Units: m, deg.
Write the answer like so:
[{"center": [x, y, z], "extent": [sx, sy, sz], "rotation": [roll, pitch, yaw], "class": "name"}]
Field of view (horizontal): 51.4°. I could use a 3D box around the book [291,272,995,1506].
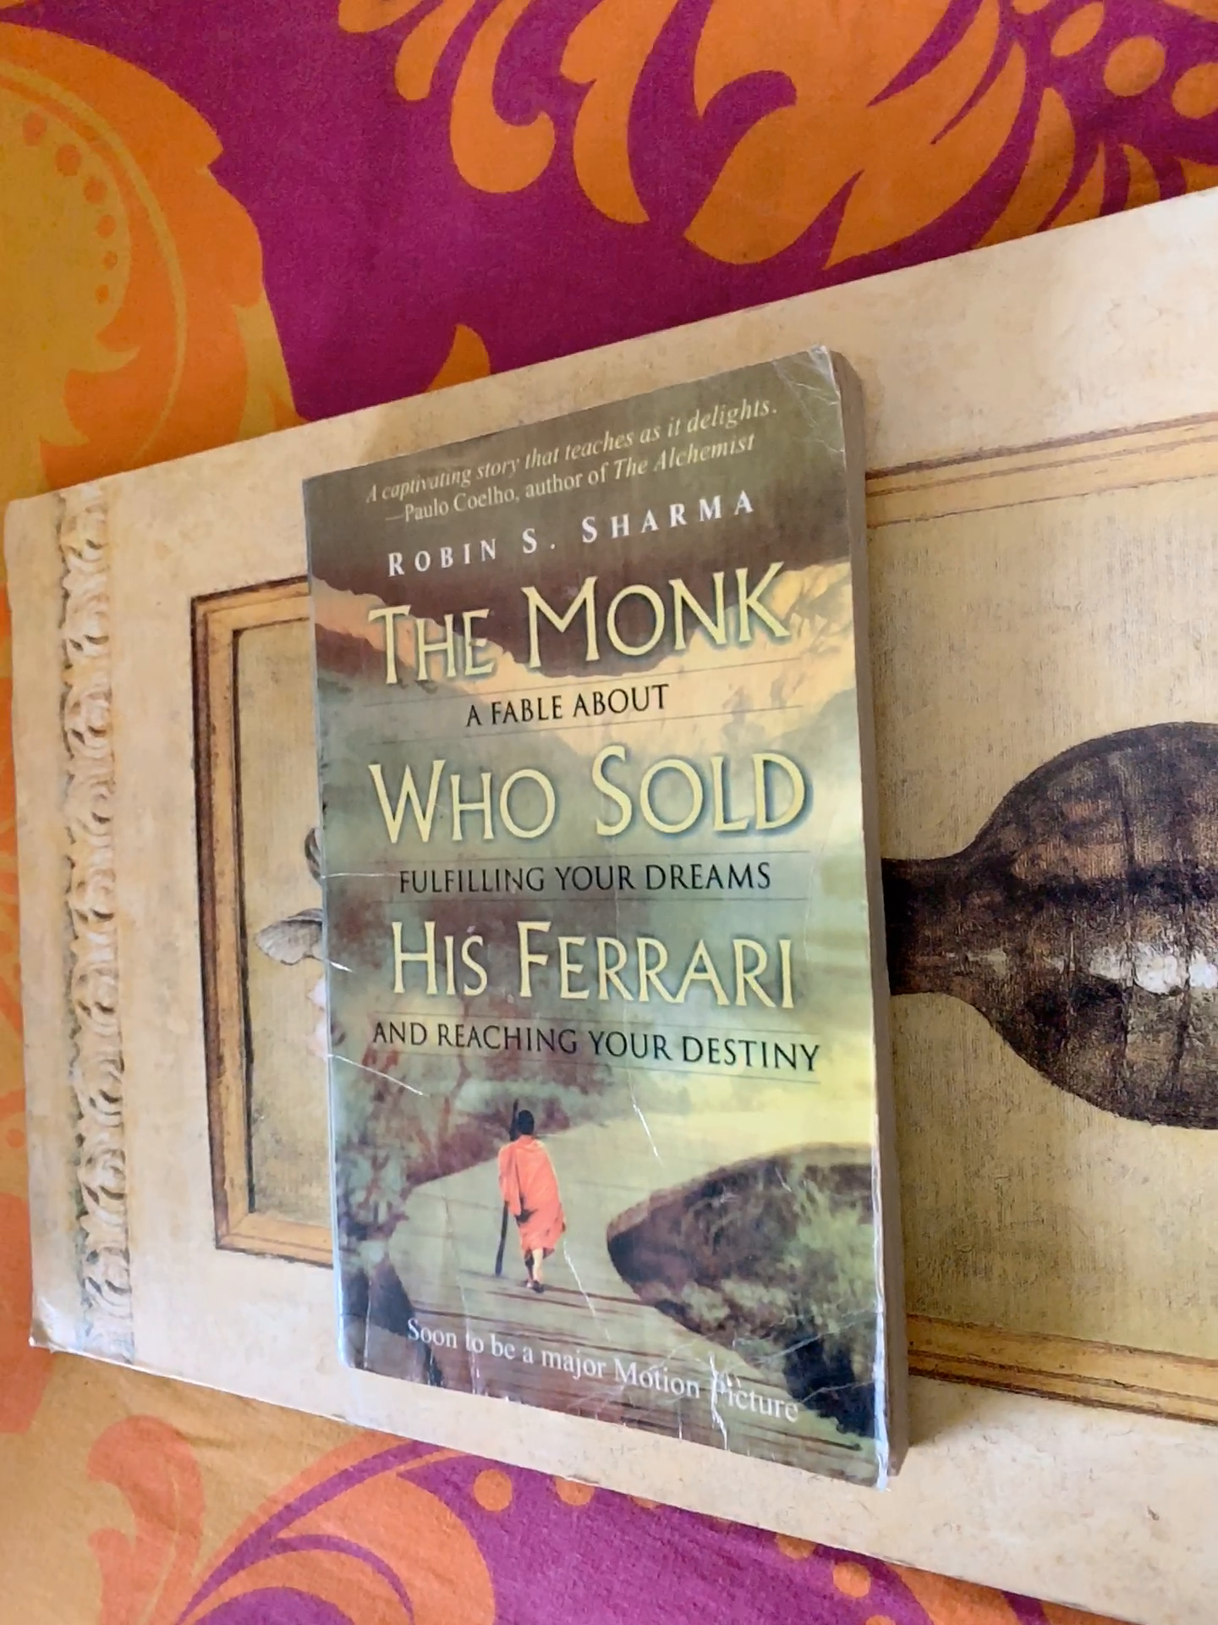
[{"center": [0.001, 0.014, 0.250], "extent": [0.130, 0.030, 0.200], "rotation": [-4, 88, 29], "class": "book"}]
